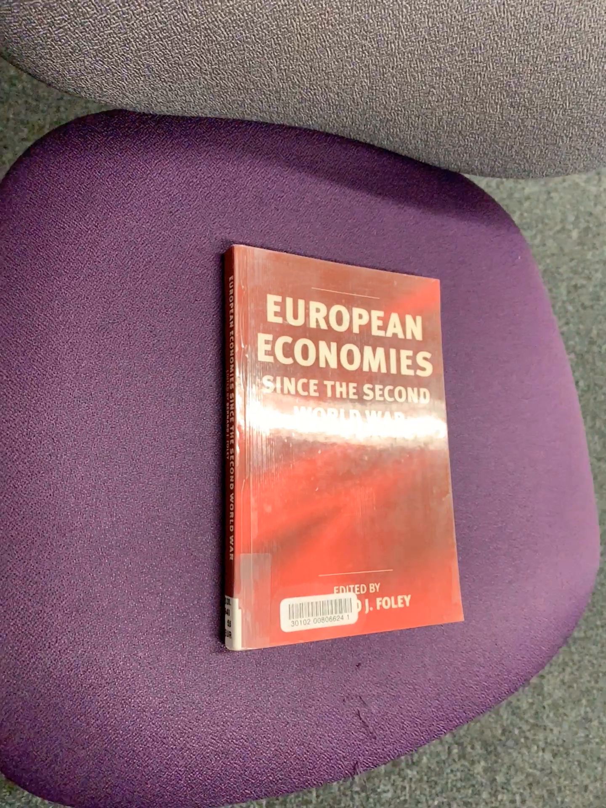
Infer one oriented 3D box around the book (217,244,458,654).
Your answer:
[{"bbox_3d":[0.022,0.023,0.382,0.149,0.020,0.225,3,79,-25],"label":"book"}]
